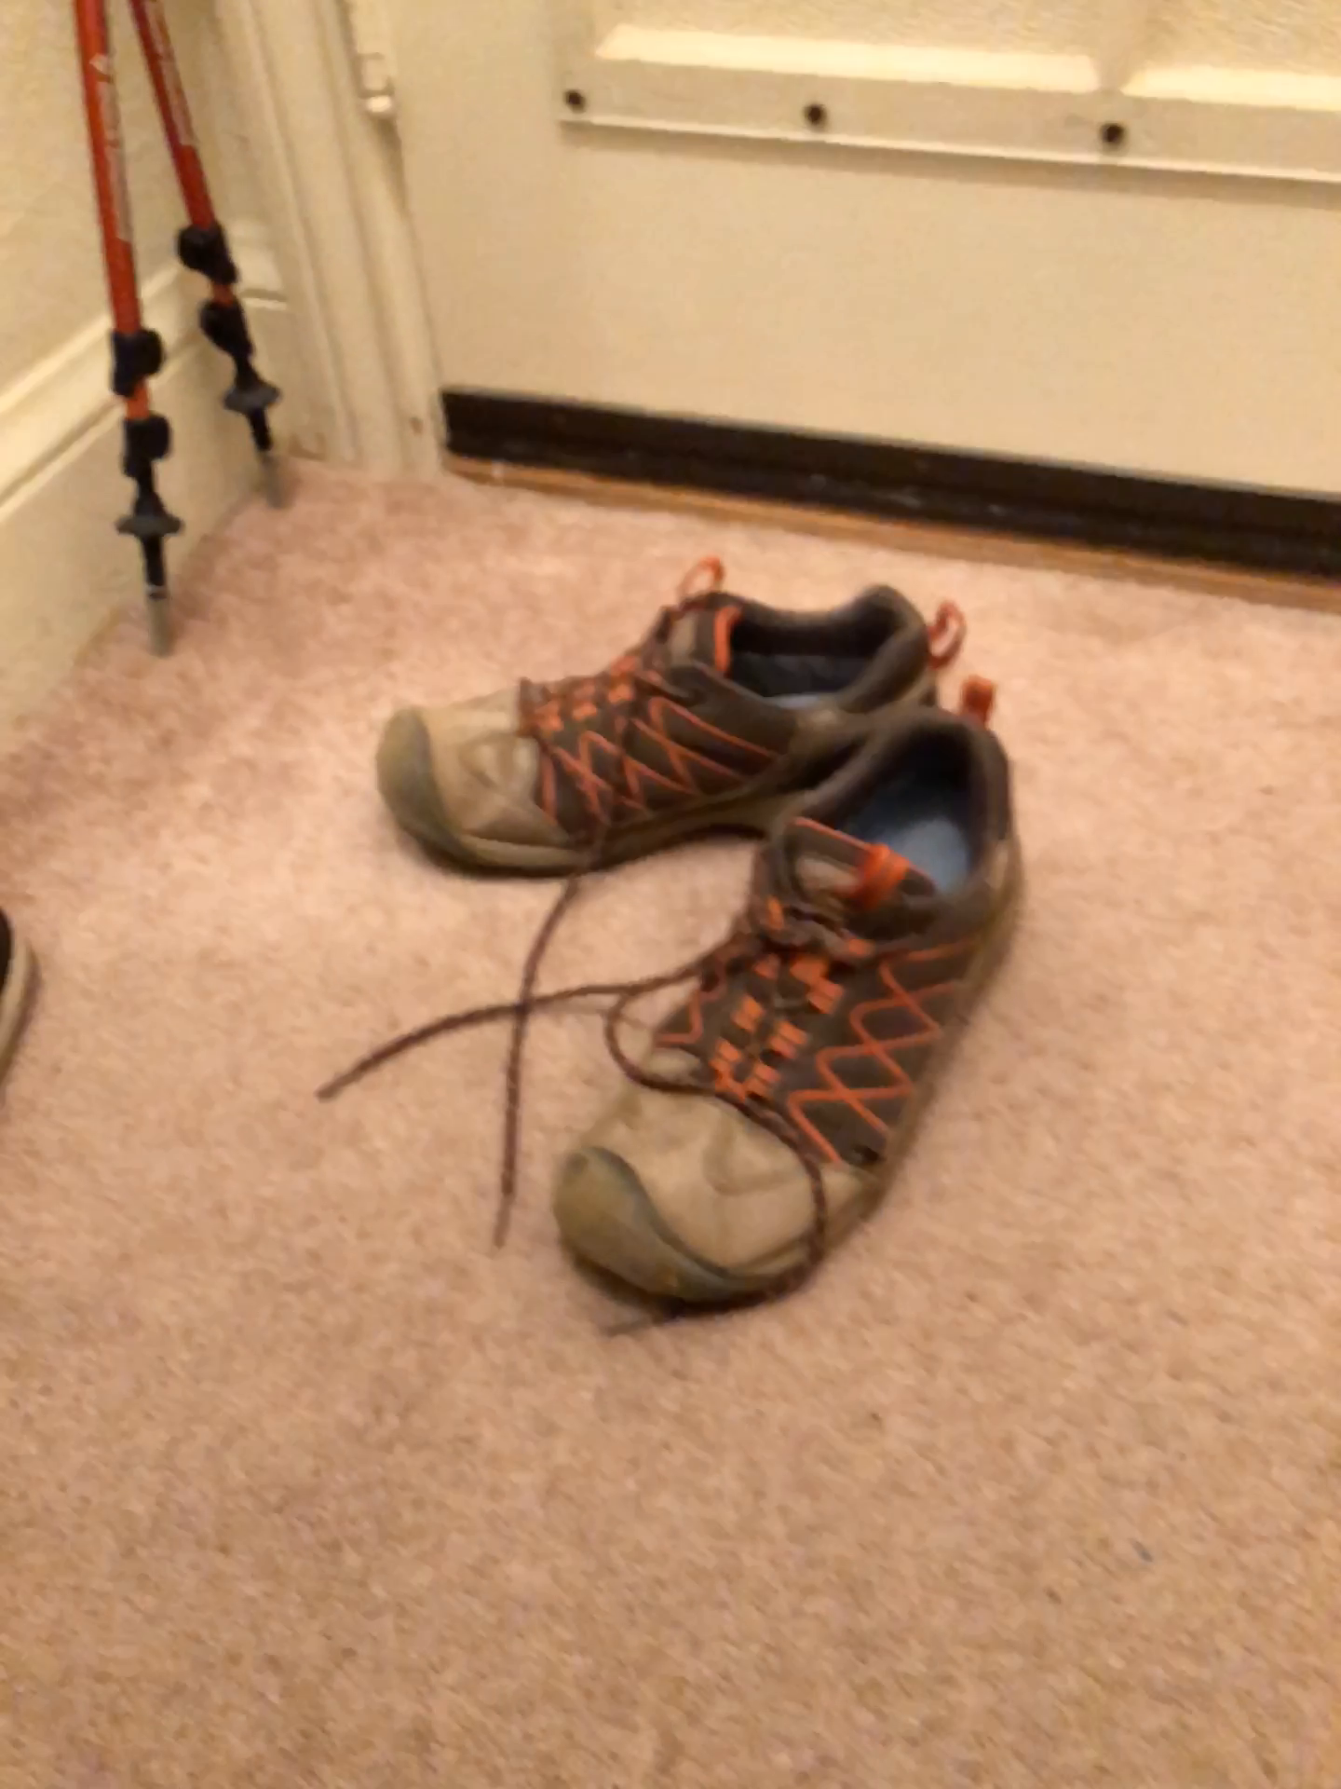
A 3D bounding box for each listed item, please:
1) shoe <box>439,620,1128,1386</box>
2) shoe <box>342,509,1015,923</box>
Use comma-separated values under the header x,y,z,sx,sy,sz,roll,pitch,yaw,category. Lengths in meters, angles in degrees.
x,y,z,sx,sy,sz,roll,pitch,yaw,category
0.055,0.031,0.599,0.120,0.129,0.271,29,55,27,shoe
0.002,-0.089,0.748,0.300,0.129,0.121,-6,47,-2,shoe
